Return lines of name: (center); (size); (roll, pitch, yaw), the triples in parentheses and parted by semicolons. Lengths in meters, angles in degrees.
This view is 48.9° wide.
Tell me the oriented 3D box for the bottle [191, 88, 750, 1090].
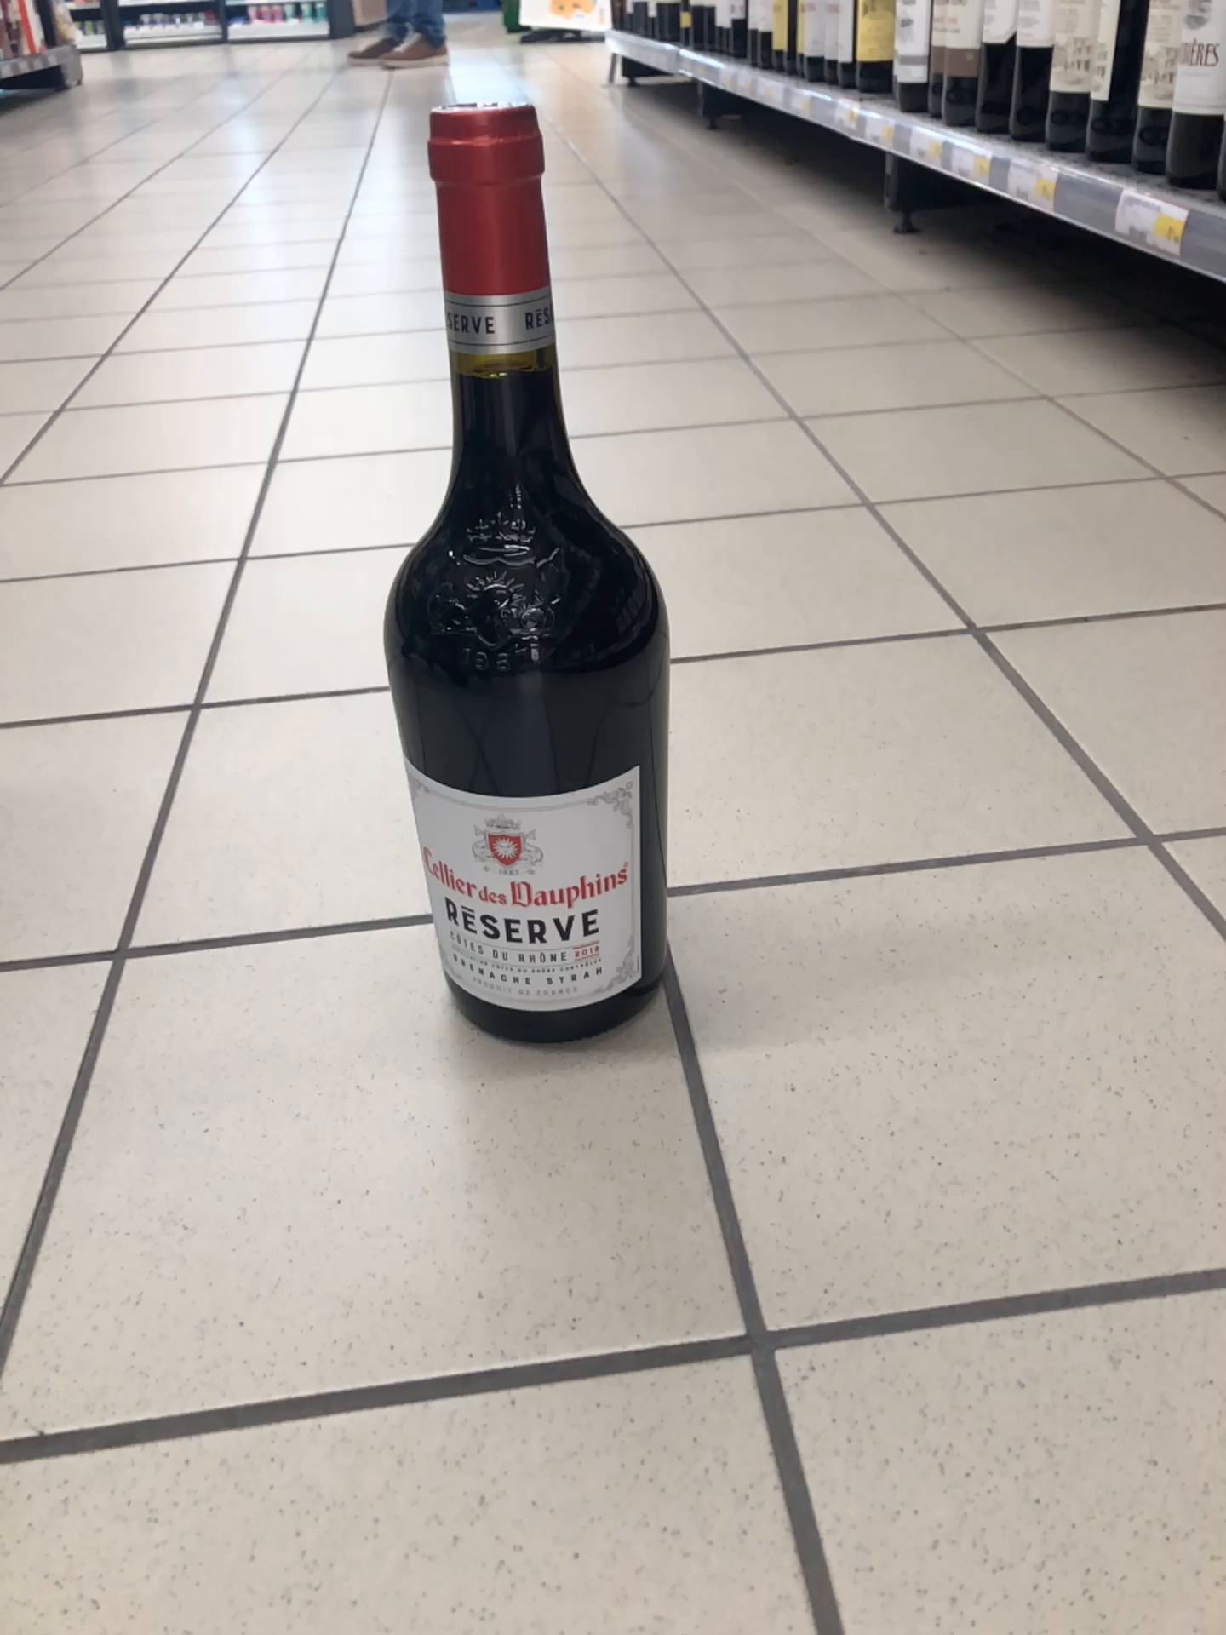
bottle: (-0.024, -0.062, 0.407); (0.110, 0.268, 0.101); (-2, 31, 1)
